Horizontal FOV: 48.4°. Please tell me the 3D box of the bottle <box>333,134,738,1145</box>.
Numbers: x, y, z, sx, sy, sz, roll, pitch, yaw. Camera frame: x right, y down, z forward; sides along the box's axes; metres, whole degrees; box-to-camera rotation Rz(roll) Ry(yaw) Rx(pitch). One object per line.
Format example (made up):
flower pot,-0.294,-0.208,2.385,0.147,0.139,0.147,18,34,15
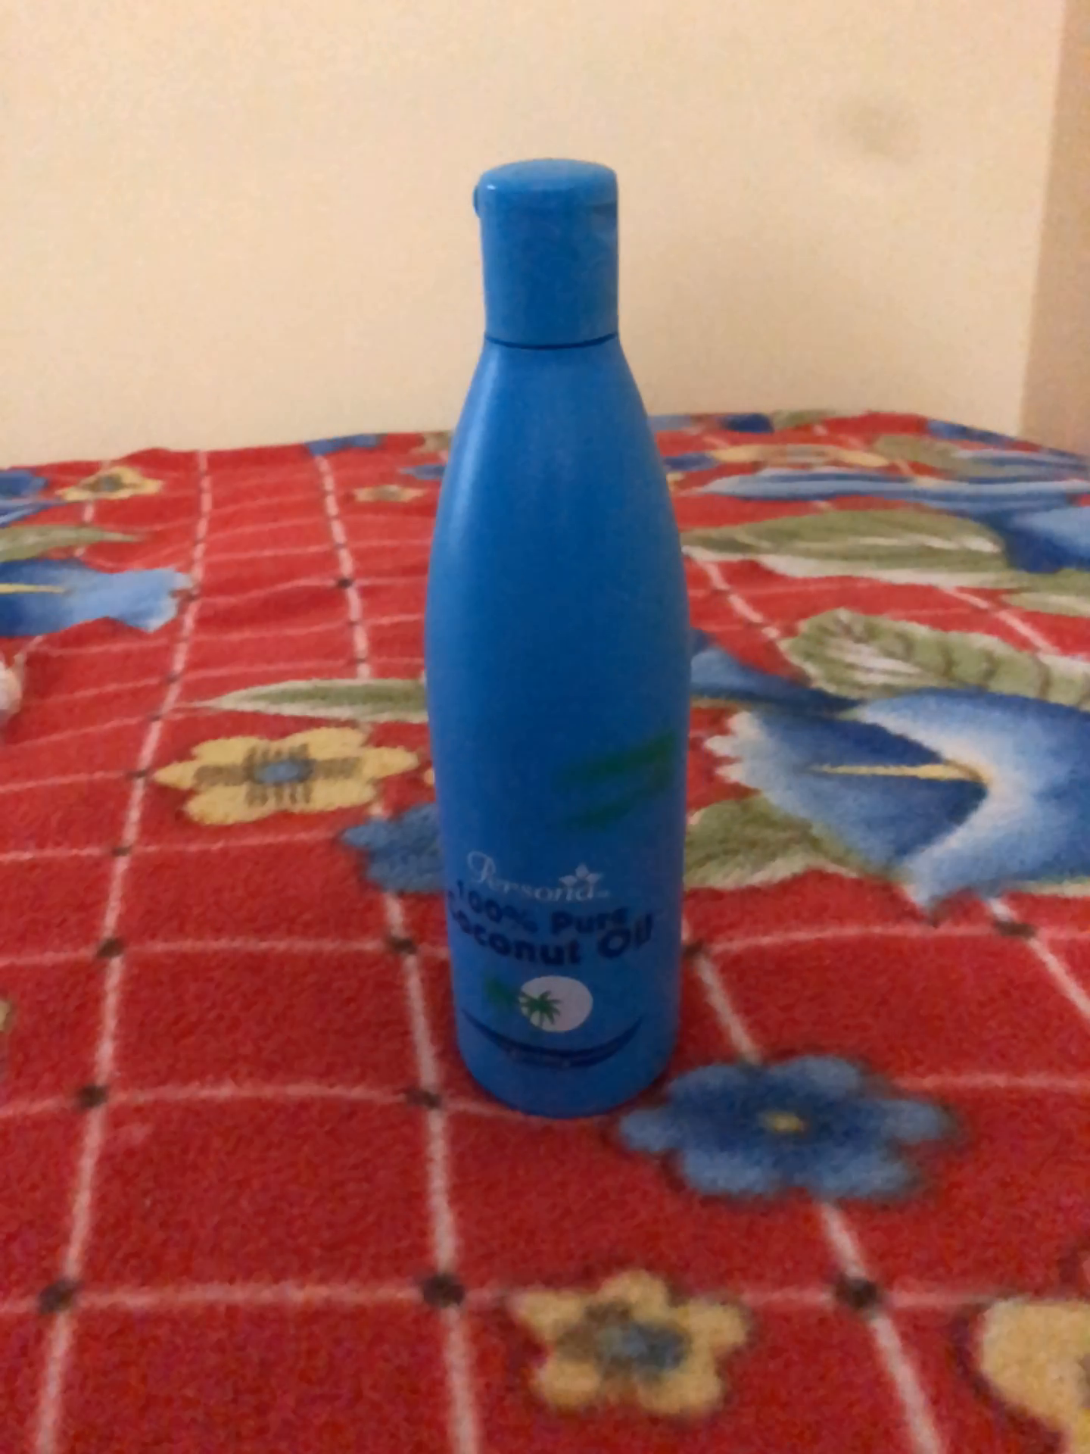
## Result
bottle,0.006,-0.012,0.291,0.070,0.229,0.070,-2,28,1
